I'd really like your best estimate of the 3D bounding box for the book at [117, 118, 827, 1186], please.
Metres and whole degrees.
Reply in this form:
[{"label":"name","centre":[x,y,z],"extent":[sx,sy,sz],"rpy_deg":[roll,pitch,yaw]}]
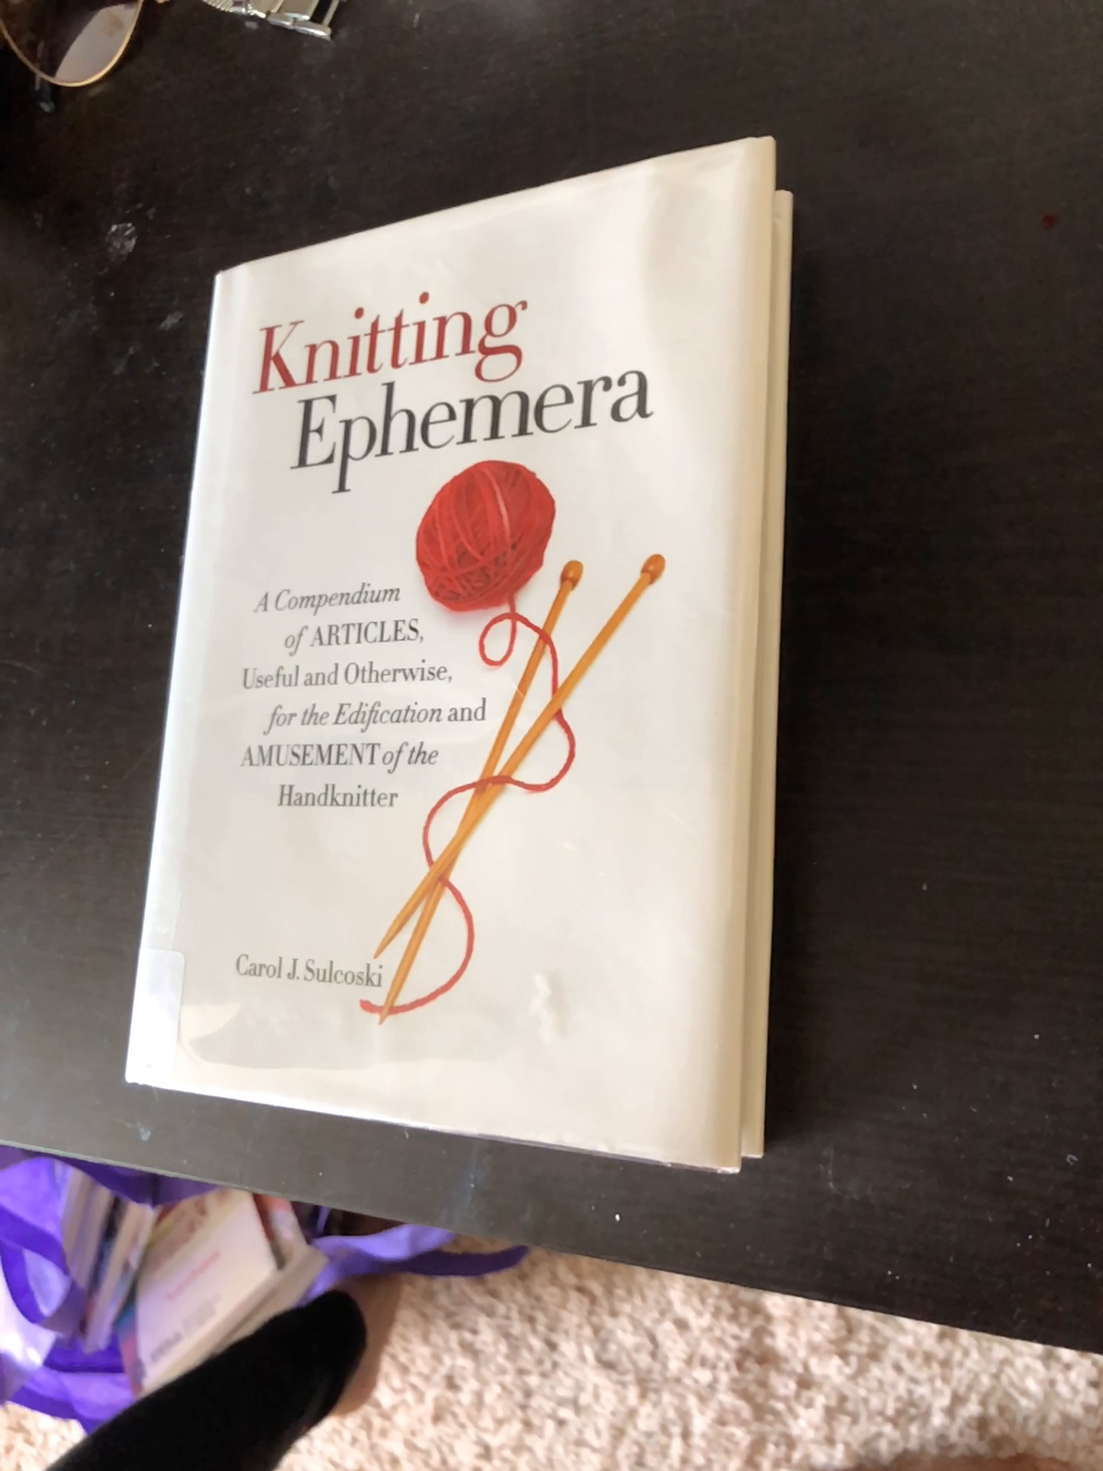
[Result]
[{"label":"book","centre":[-0.017,-0.016,0.244],"extent":[0.132,0.029,0.178],"rpy_deg":[-1,80,27]}]
